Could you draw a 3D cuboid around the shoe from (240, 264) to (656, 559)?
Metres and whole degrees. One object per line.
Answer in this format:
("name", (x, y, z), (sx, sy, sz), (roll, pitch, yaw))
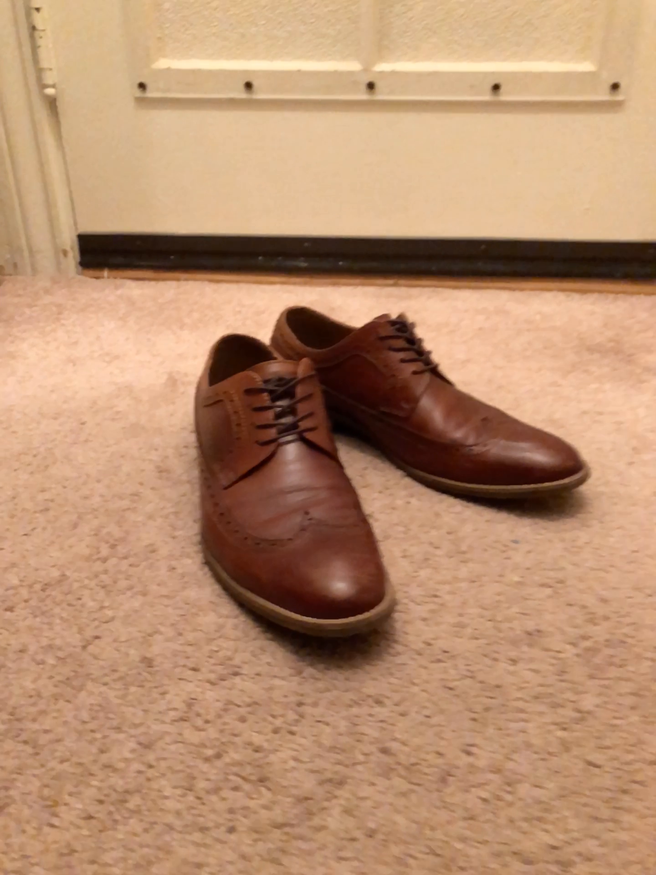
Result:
("shoe", (0.079, -0.042, 0.582), (0.311, 0.114, 0.115), (24, 37, 36))

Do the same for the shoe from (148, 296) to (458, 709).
("shoe", (-0.040, 0.011, 0.497), (0.115, 0.114, 0.312), (-9, 30, -16))
